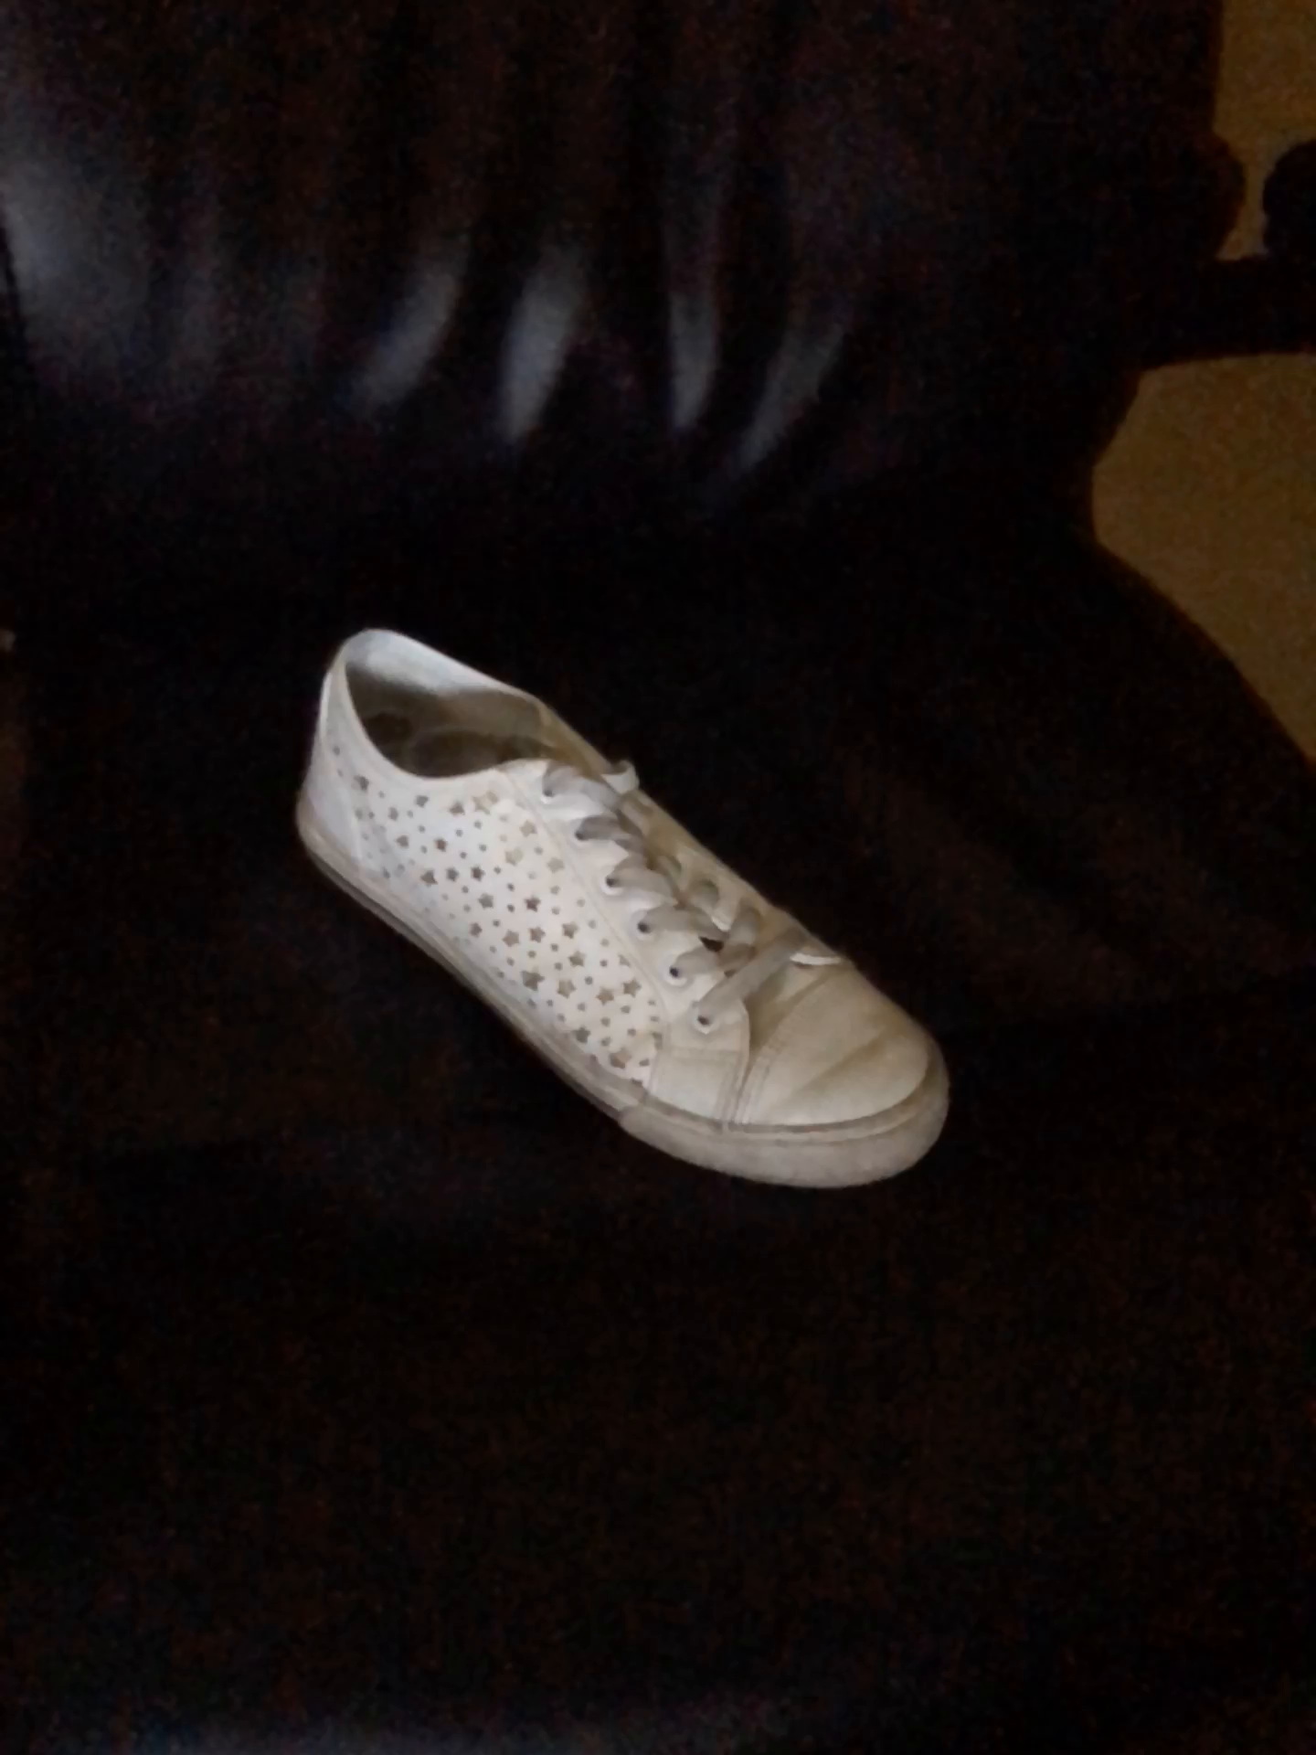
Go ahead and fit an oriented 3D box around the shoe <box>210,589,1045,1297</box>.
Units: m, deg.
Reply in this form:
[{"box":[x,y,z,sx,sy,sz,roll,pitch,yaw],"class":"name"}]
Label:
[{"box":[-0.018,0.009,0.496,0.260,0.099,0.101,28,48,26],"class":"shoe"}]
